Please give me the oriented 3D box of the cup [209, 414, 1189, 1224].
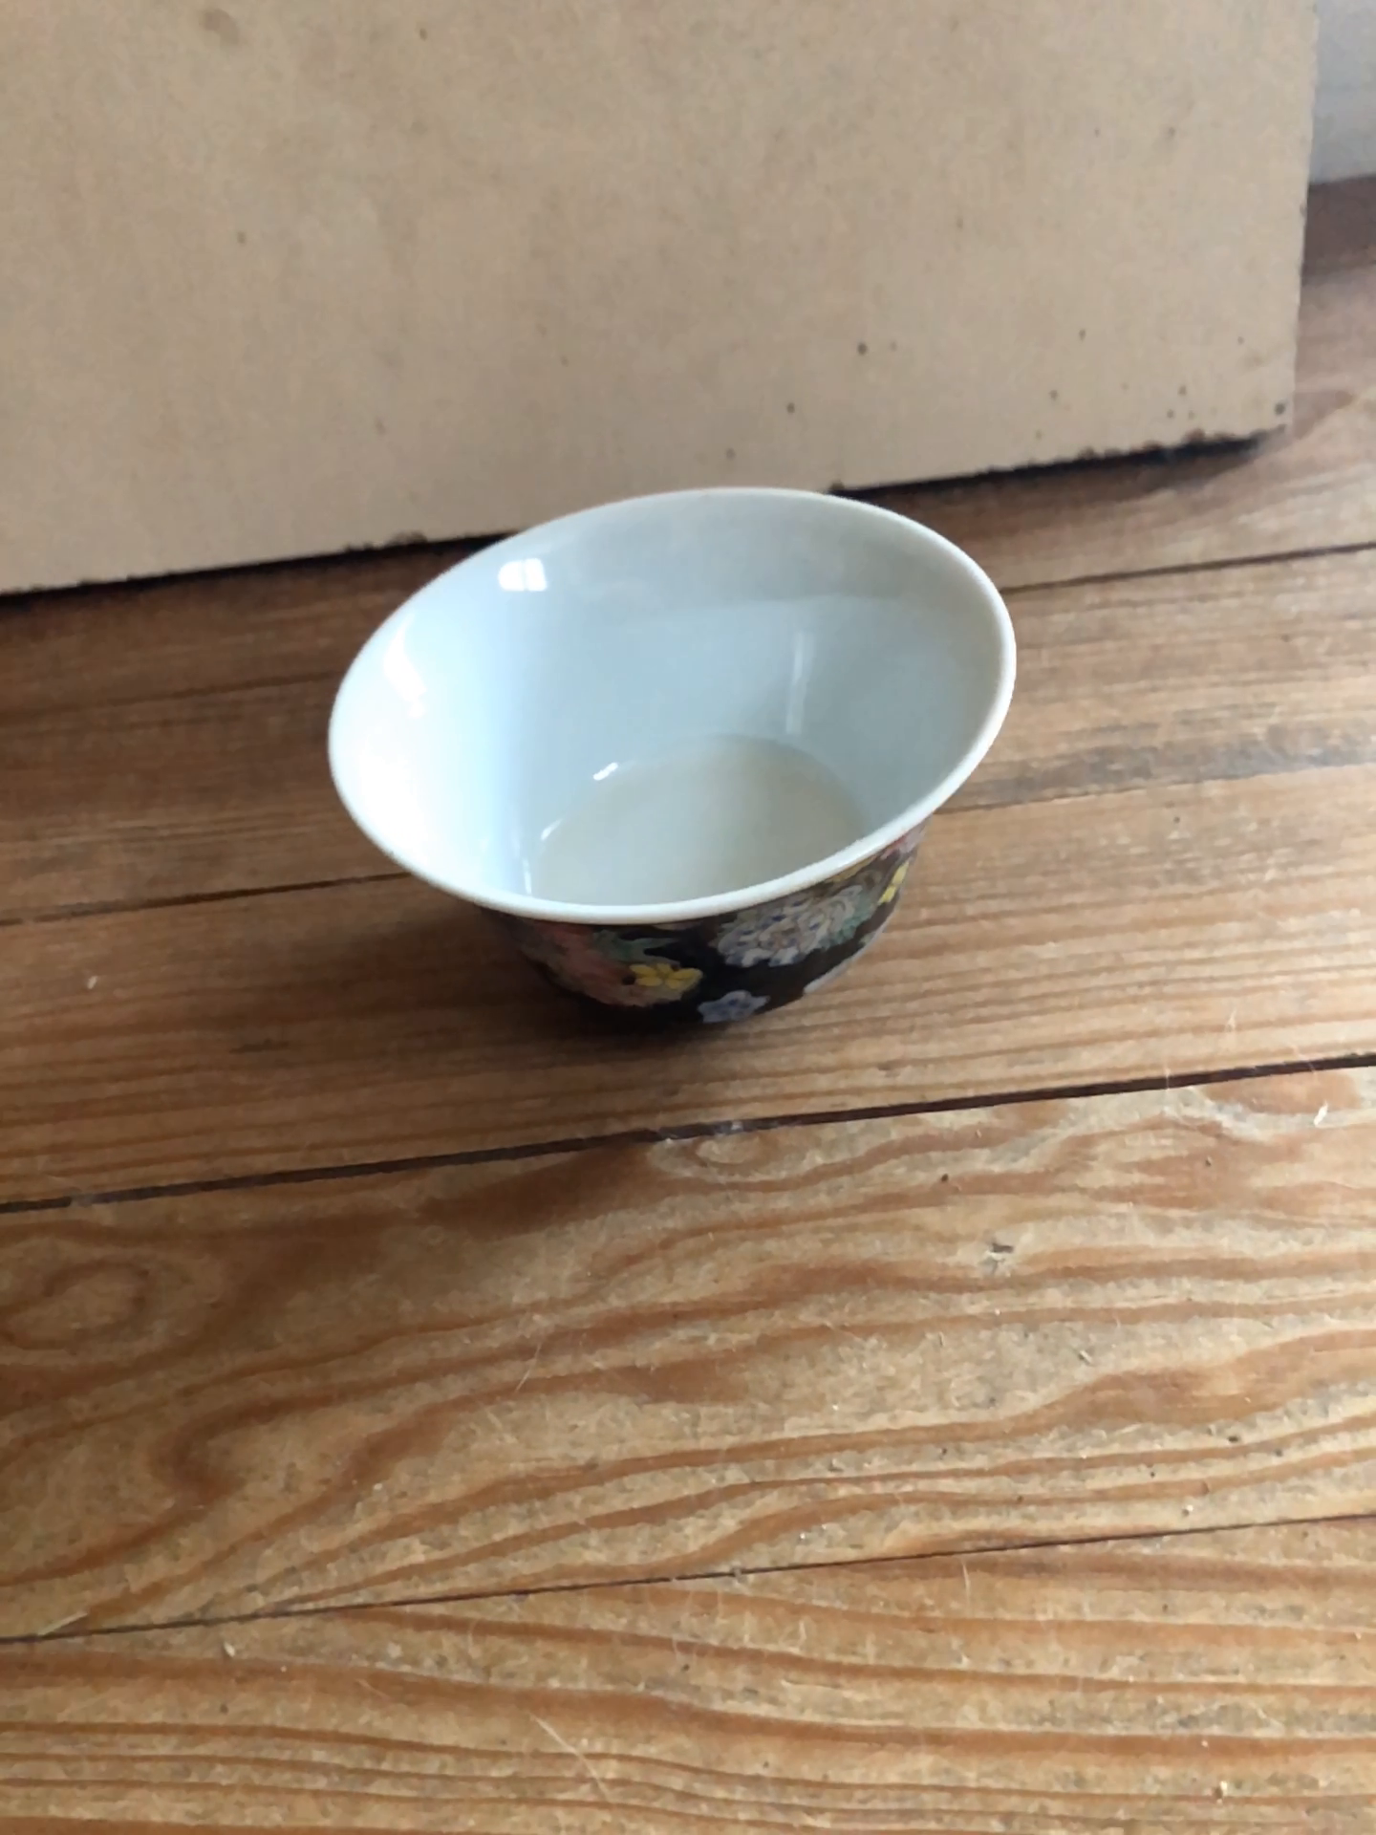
[{"bbox_3d":[0.001,-0.026,0.246,0.110,0.040,0.100,-34,50,-23],"label":"cup"}]
